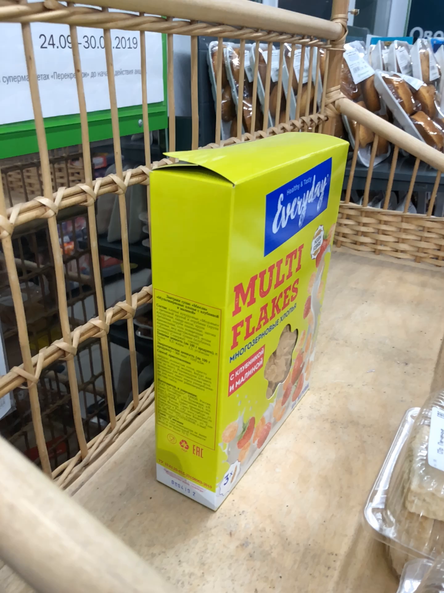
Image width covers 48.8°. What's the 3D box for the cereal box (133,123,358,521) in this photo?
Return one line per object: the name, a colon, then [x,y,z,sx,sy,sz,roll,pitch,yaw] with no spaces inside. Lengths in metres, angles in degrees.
cereal box: [0.022,0.006,0.358,0.060,0.229,0.181,18,30,27]
